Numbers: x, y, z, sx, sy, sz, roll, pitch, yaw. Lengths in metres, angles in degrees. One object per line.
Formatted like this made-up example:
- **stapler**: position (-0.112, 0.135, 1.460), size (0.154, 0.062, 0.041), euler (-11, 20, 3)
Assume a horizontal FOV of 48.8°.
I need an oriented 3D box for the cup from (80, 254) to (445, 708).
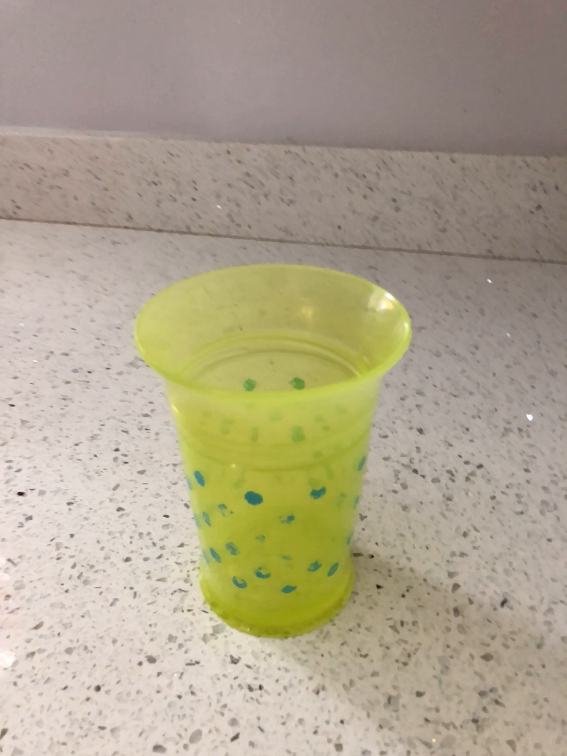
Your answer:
- **cup**: position (-0.004, 0.029, 0.211), size (0.078, 0.109, 0.073), euler (-1, 33, 0)
